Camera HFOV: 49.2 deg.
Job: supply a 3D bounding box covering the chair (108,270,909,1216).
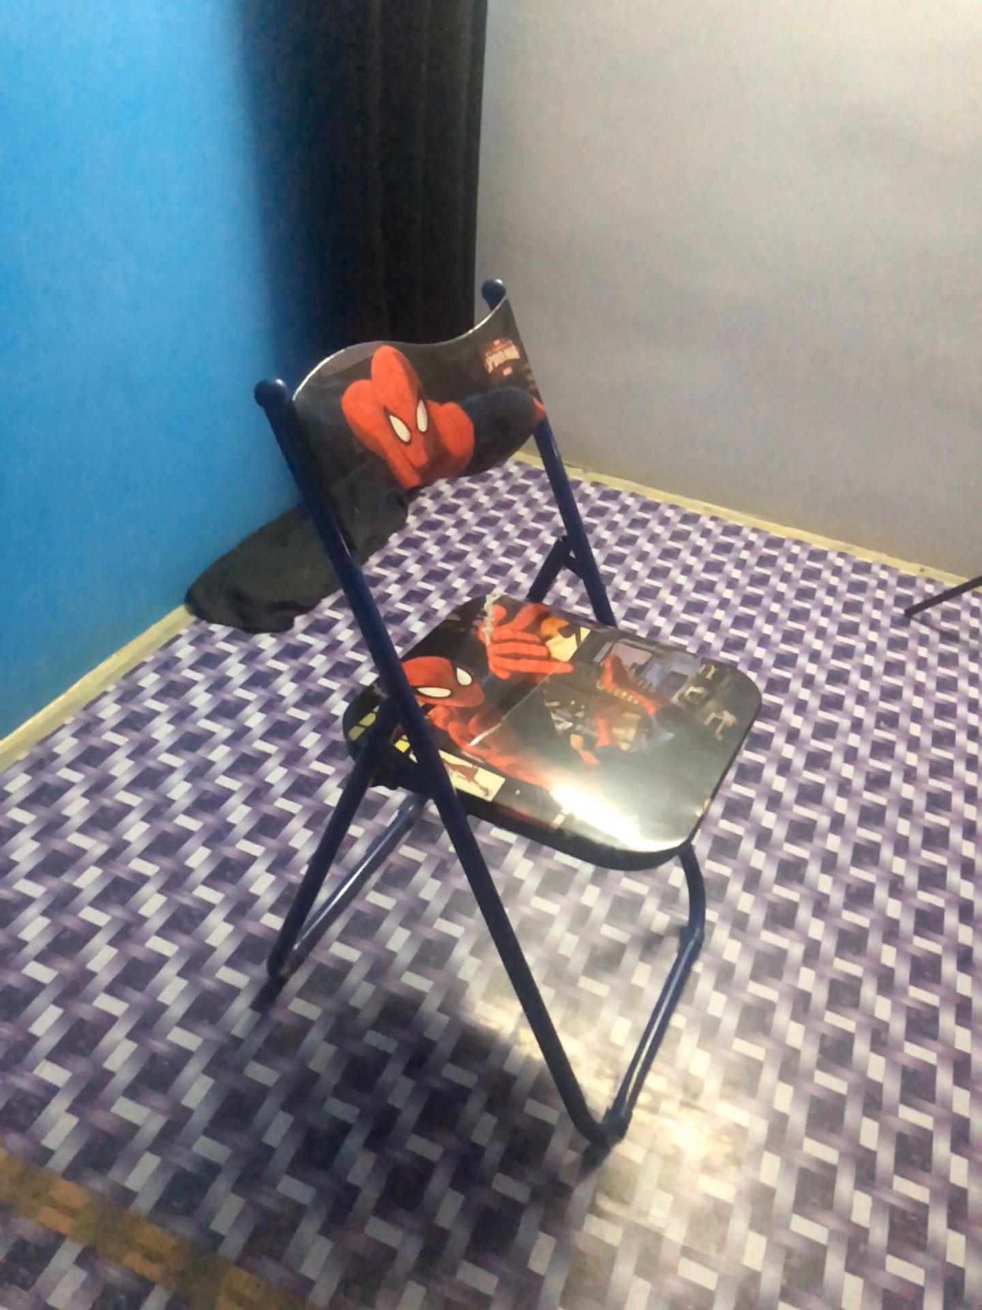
[{"bbox_3d":[0.021,0.049,1.134,0.560,0.686,0.513,19,34,16],"label":"chair"}]
